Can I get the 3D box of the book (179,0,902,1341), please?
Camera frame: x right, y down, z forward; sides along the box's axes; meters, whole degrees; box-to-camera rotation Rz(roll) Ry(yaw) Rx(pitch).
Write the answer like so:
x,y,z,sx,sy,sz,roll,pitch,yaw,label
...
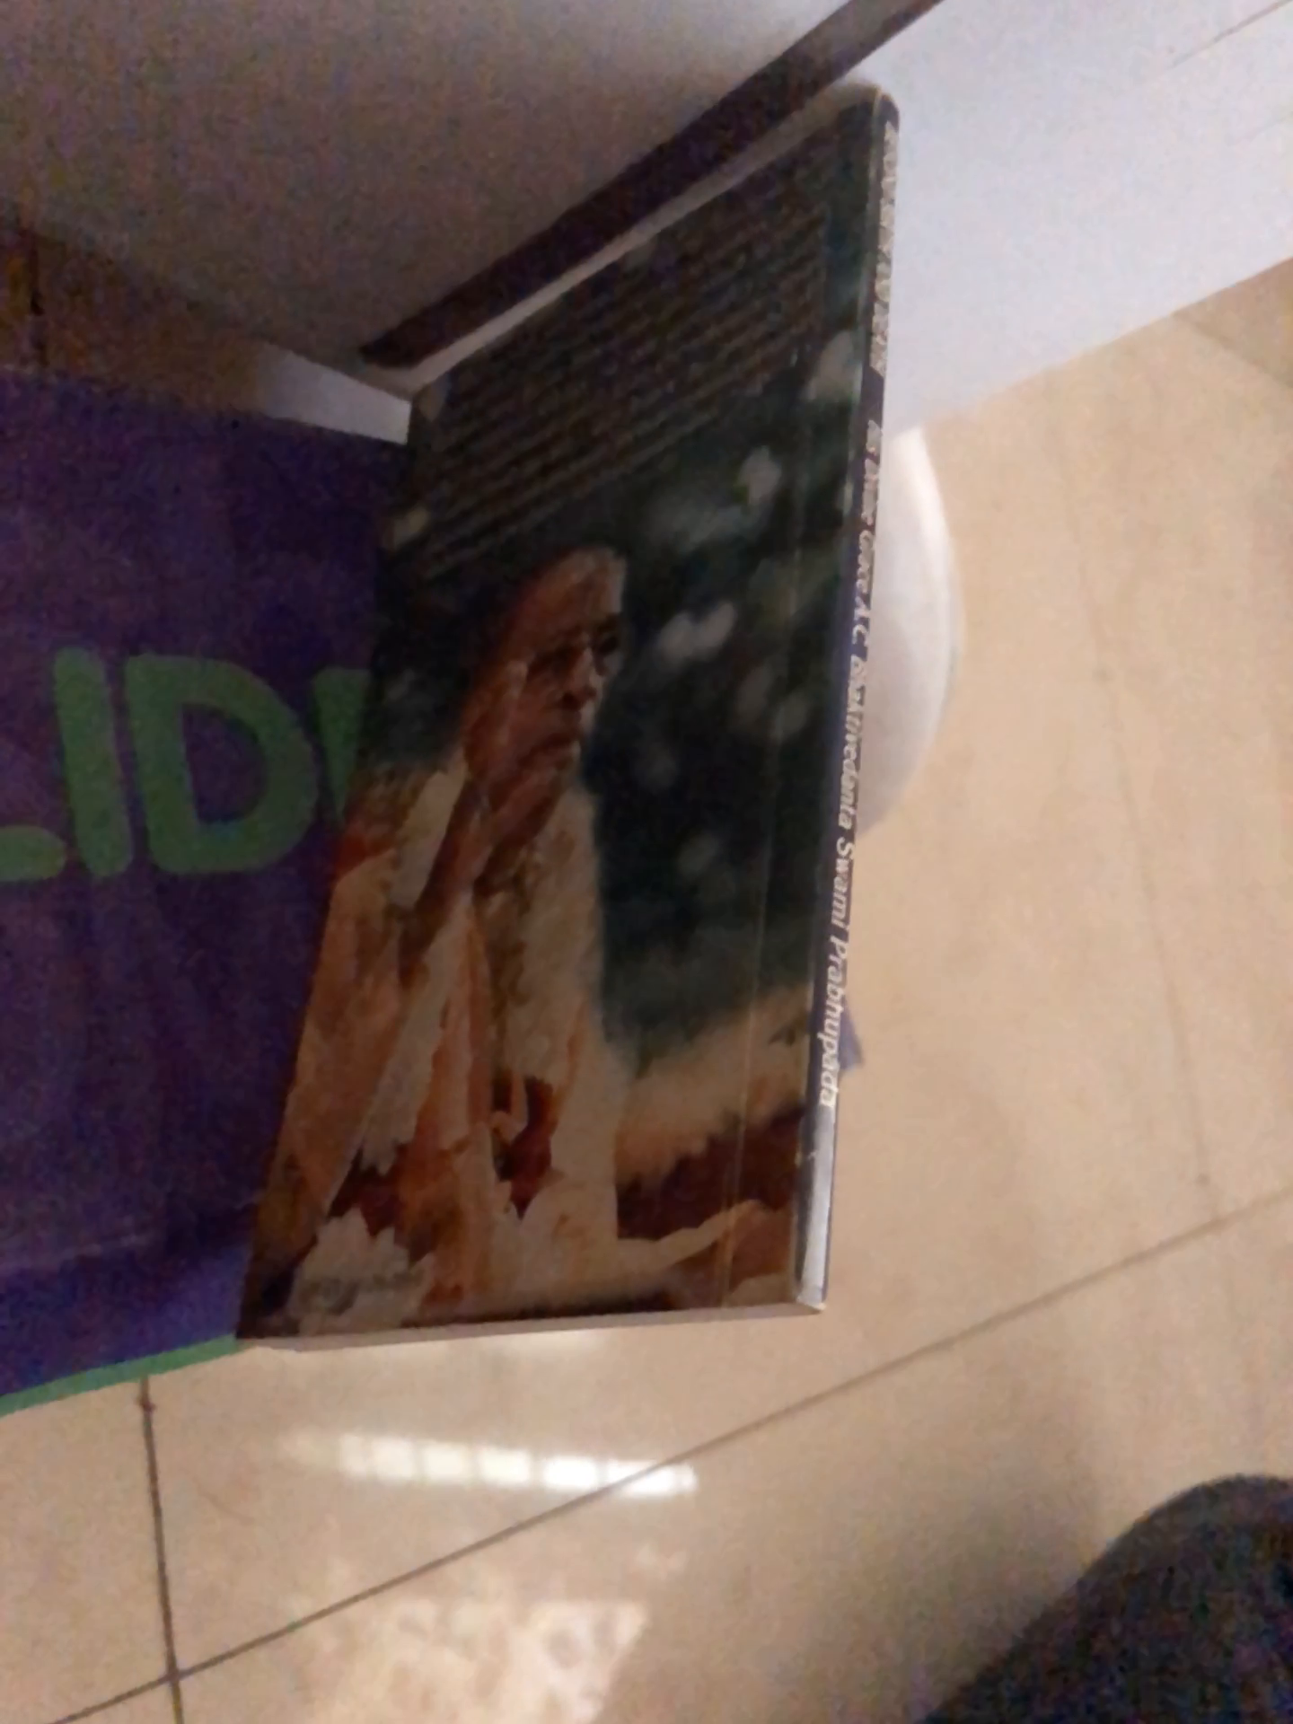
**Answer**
x,y,z,sx,sy,sz,roll,pitch,yaw,label
-0.015,-0.032,0.219,0.010,0.119,0.190,28,55,-38,book
